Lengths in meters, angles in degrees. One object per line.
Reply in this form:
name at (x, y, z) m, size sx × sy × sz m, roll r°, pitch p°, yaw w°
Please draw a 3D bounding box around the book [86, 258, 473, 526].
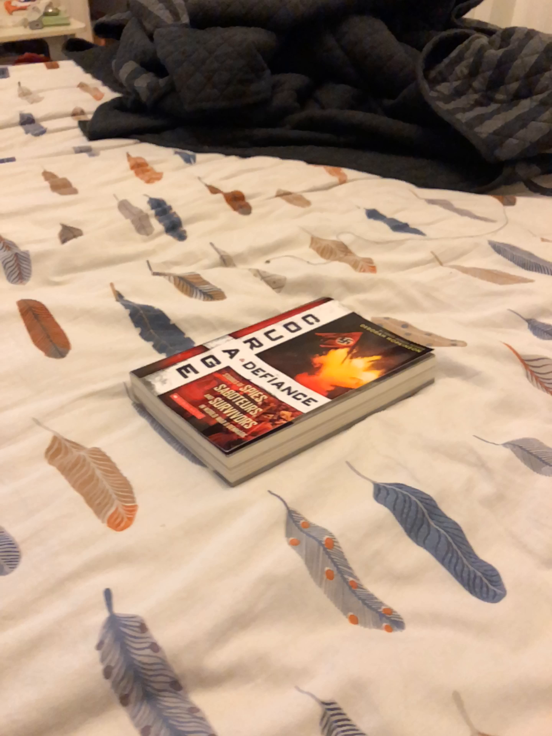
book at (0.003, -0.006, 0.488) m, size 0.231 × 0.020 × 0.201 m, roll -27°, pitch 47°, yaw -32°
